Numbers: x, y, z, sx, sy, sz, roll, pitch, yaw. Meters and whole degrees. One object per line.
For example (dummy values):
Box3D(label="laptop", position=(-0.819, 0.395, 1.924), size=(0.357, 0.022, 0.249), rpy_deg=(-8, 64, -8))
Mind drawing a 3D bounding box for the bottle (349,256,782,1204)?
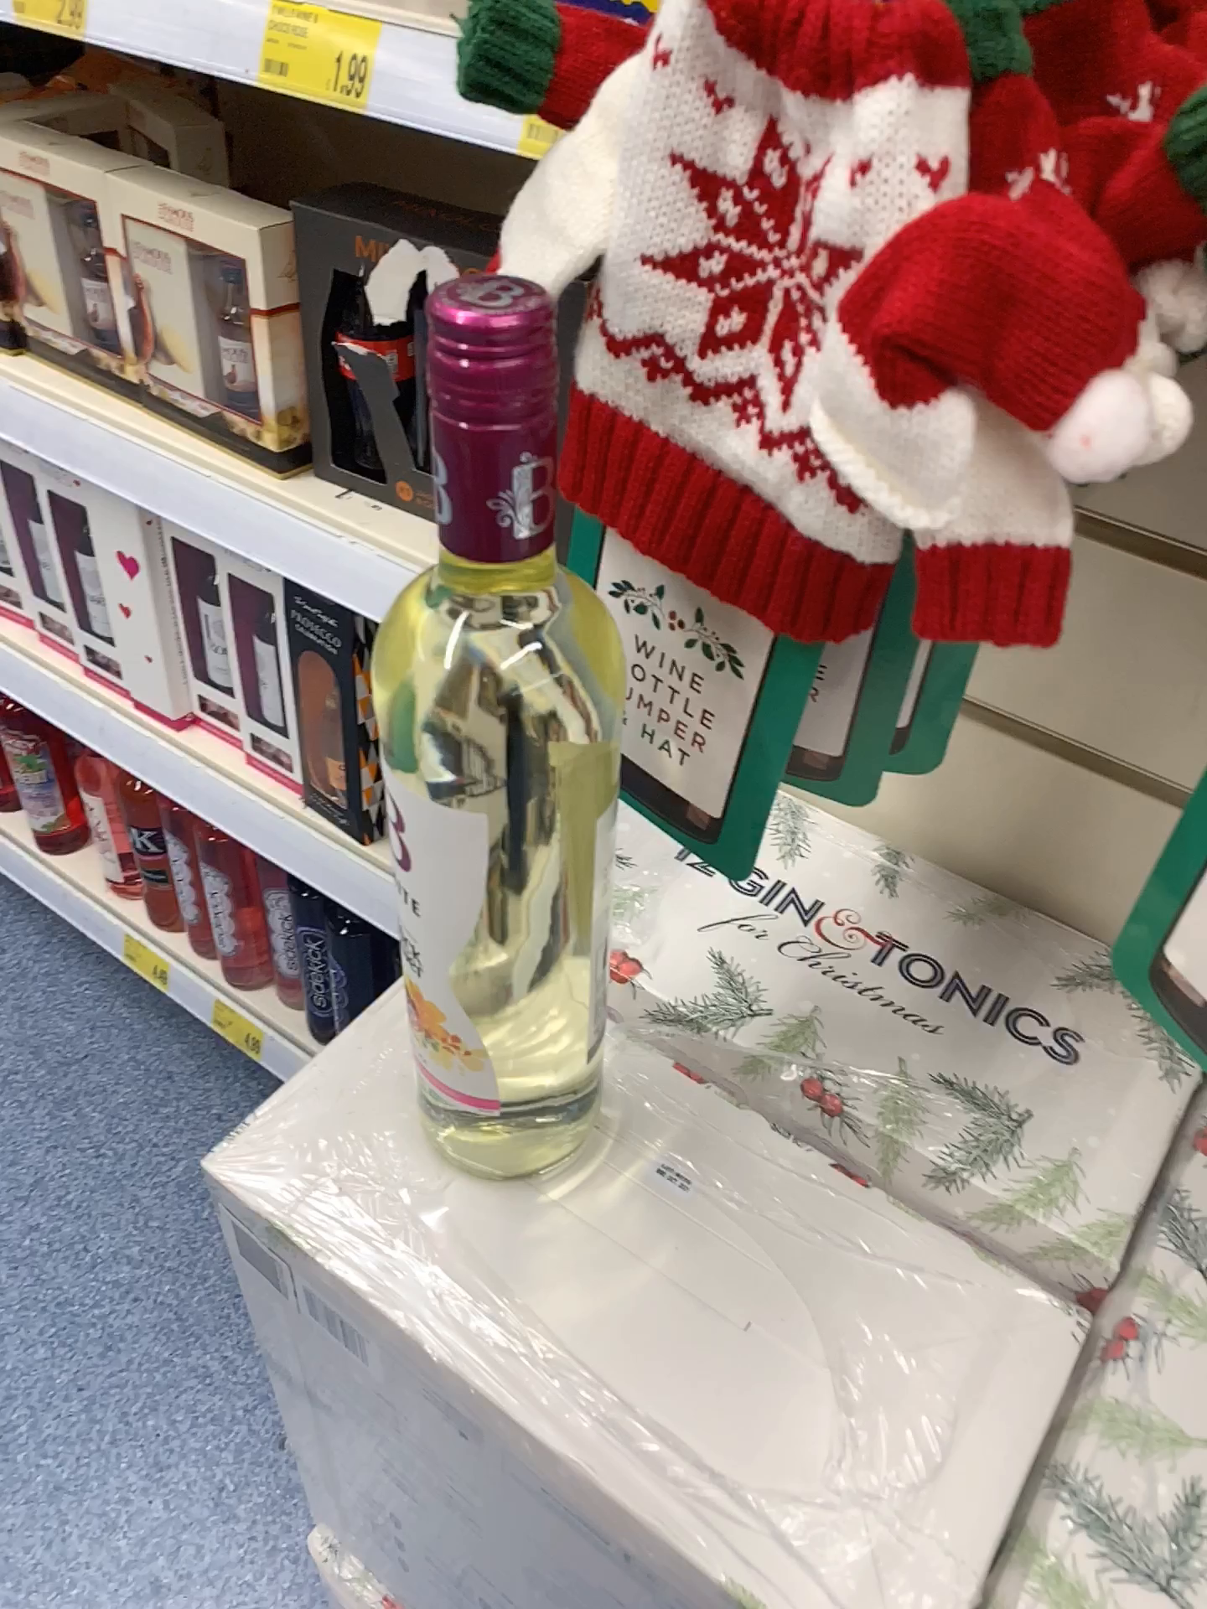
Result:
Box3D(label="bottle", position=(-0.021, -0.003, 0.377), size=(0.080, 0.288, 0.082), rpy_deg=(3, 40, -2))
